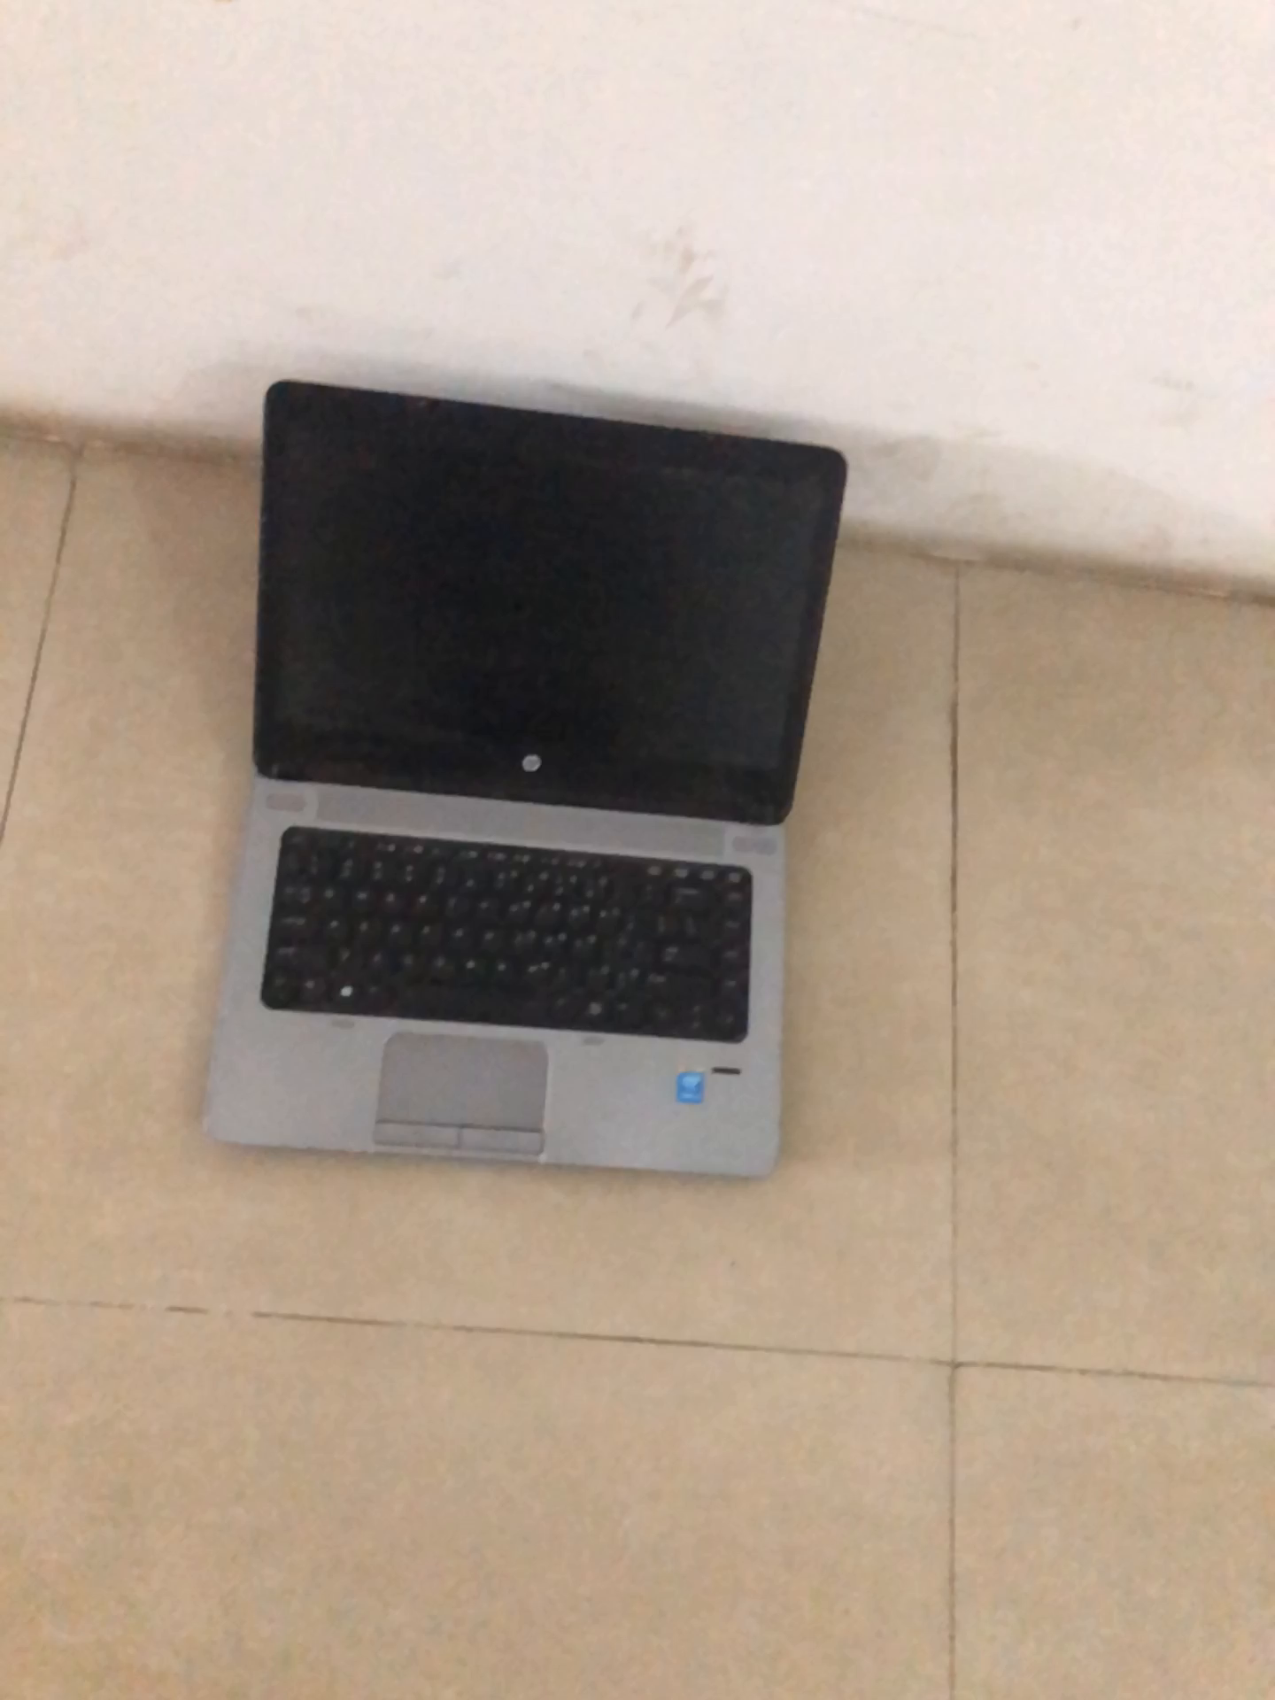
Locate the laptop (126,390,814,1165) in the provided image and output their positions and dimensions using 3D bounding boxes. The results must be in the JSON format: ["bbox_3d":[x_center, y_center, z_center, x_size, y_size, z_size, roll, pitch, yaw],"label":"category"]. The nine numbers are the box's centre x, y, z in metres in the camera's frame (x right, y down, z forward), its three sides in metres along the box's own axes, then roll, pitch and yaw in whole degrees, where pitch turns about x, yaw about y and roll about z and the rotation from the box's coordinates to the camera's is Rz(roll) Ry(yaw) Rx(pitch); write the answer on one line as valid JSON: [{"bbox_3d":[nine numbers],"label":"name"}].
[{"bbox_3d":[-0.077,-0.034,0.797,0.318,0.146,0.386,6,71,-7],"label":"laptop"}]
